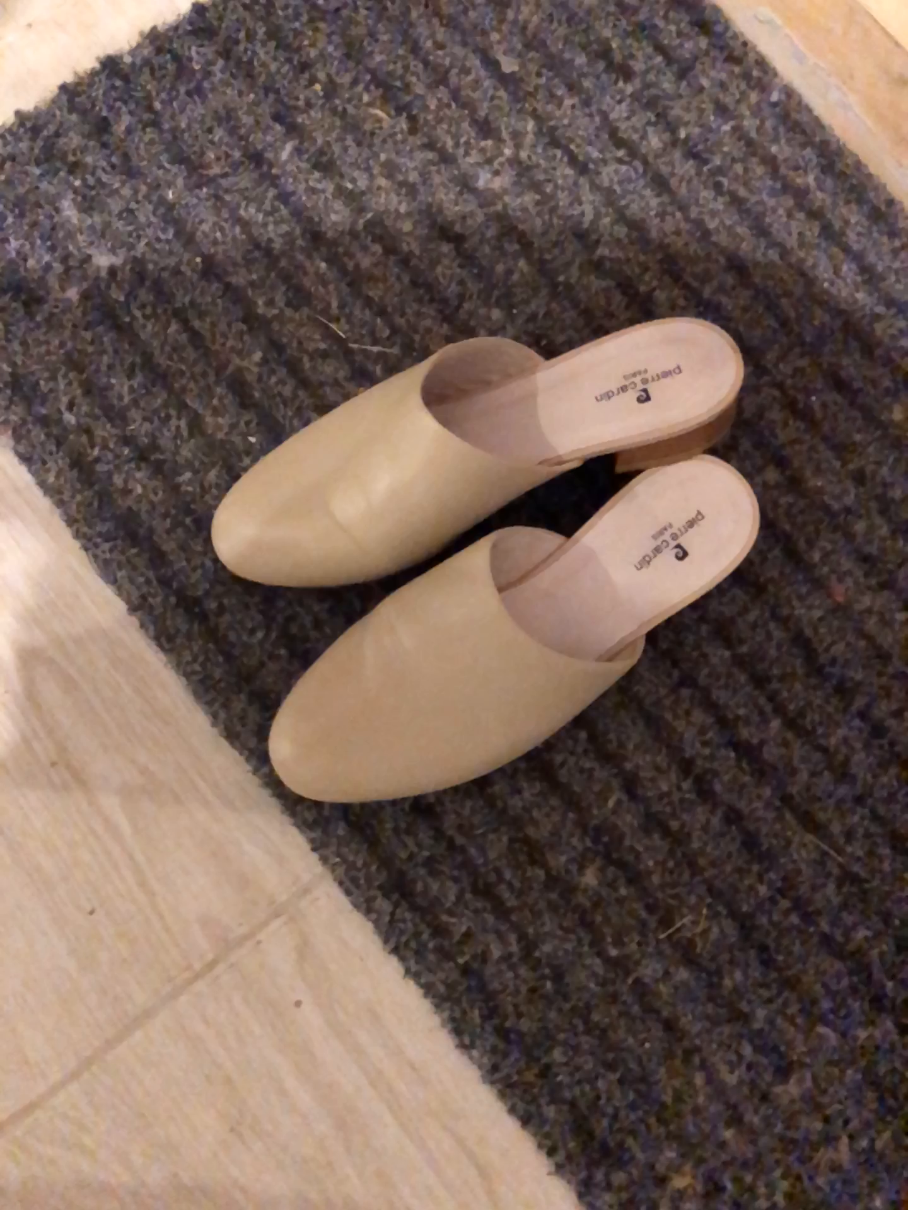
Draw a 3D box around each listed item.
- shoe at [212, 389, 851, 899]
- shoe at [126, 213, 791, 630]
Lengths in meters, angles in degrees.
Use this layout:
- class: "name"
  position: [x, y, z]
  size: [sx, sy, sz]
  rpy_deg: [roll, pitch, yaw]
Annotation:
- class: "shoe"
  position: [0.034, 0.016, 0.435]
  size: [0.250, 0.070, 0.090]
  rpy_deg: [-31, 82, -9]
- class: "shoe"
  position: [0.002, -0.077, 0.431]
  size: [0.250, 0.070, 0.090]
  rpy_deg: [-19, 80, -7]
